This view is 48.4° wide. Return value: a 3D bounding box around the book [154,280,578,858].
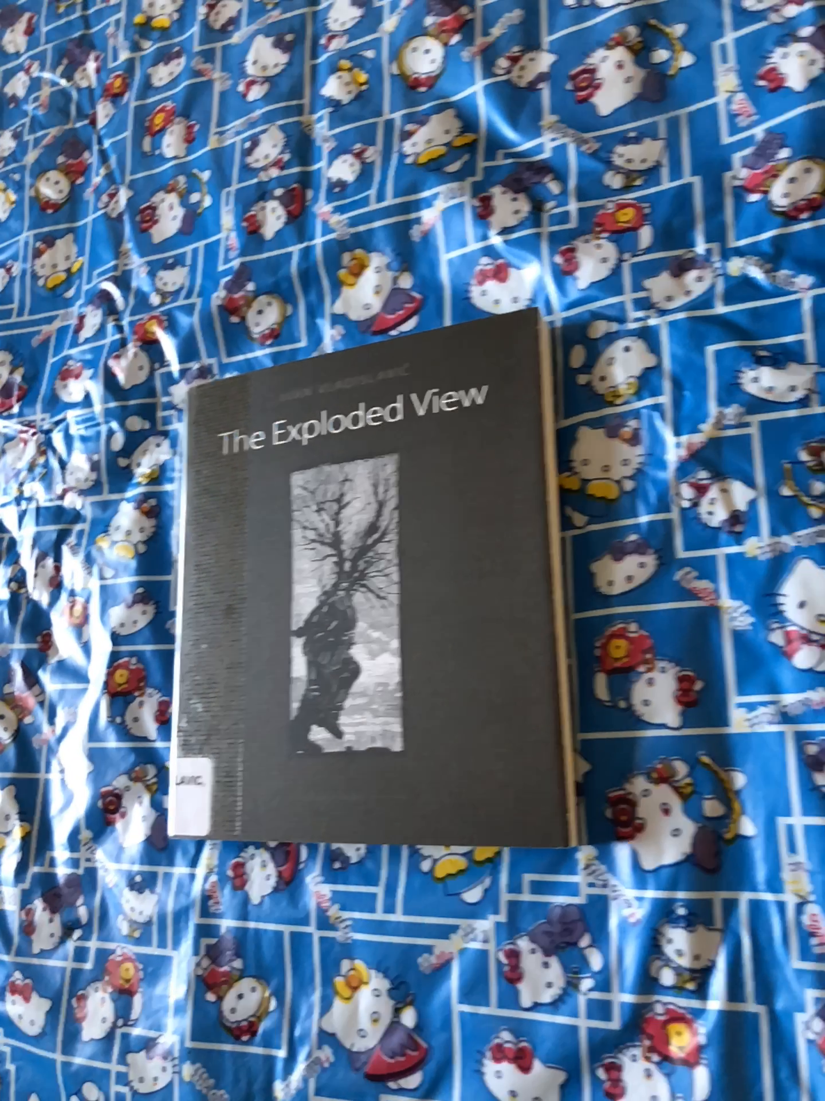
[{"bbox_3d":[-0.021,0.009,0.304,0.140,0.020,0.170,-6,78,25],"label":"book"}]
